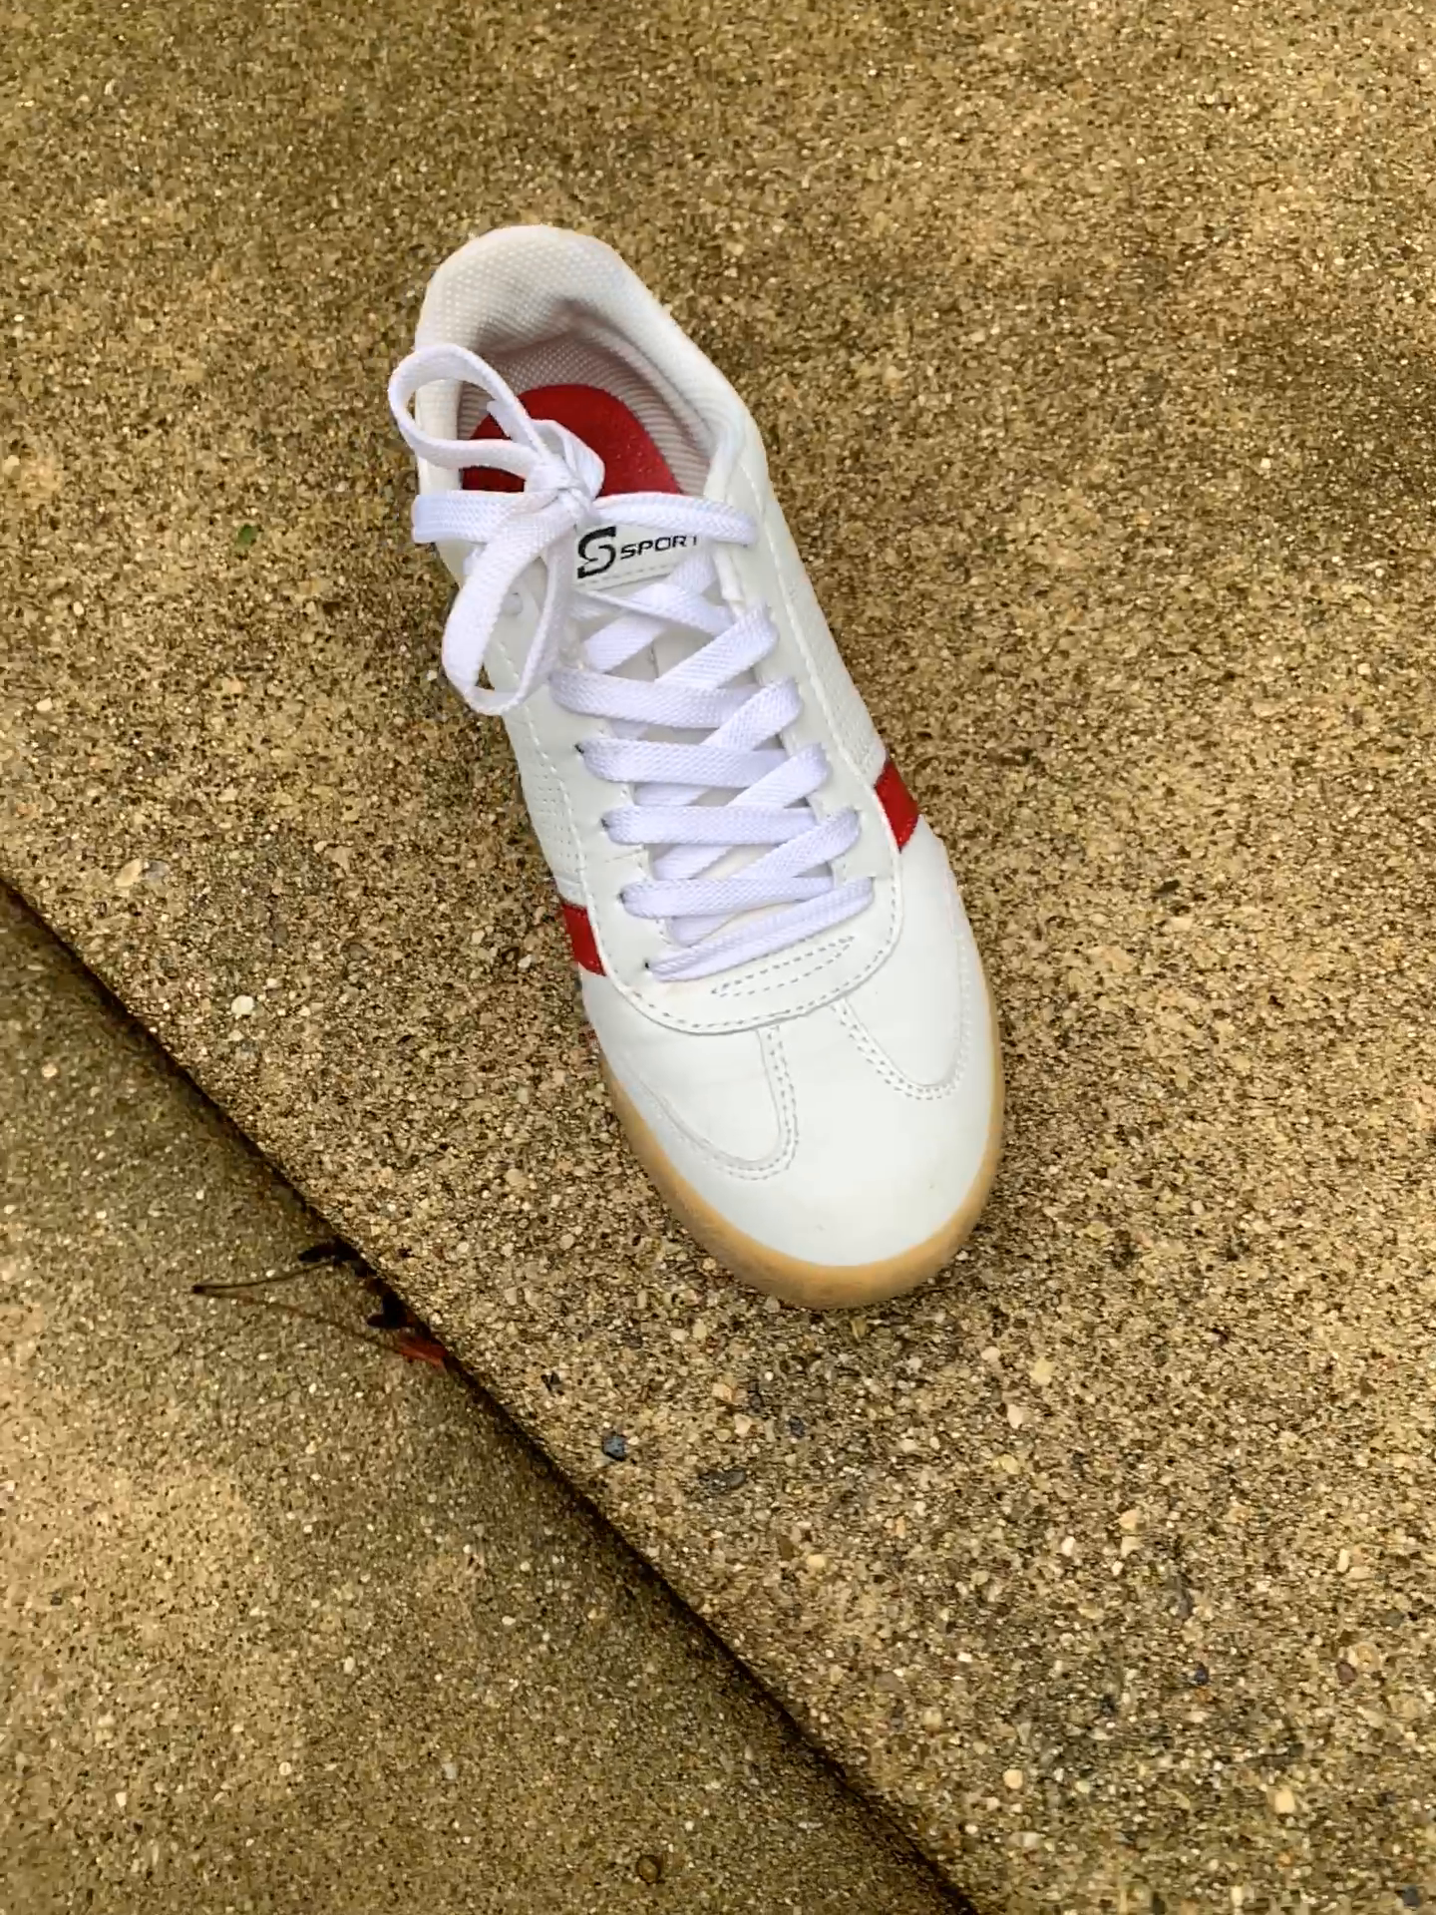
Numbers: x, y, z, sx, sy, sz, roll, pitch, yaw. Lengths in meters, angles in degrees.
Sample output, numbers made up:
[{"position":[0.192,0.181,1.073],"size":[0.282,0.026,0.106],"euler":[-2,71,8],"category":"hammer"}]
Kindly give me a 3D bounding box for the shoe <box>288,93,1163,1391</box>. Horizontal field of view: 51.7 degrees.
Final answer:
[{"position":[-0.011,-0.054,0.339],"size":[0.097,0.092,0.270],"euler":[-17,69,-6],"category":"shoe"}]
